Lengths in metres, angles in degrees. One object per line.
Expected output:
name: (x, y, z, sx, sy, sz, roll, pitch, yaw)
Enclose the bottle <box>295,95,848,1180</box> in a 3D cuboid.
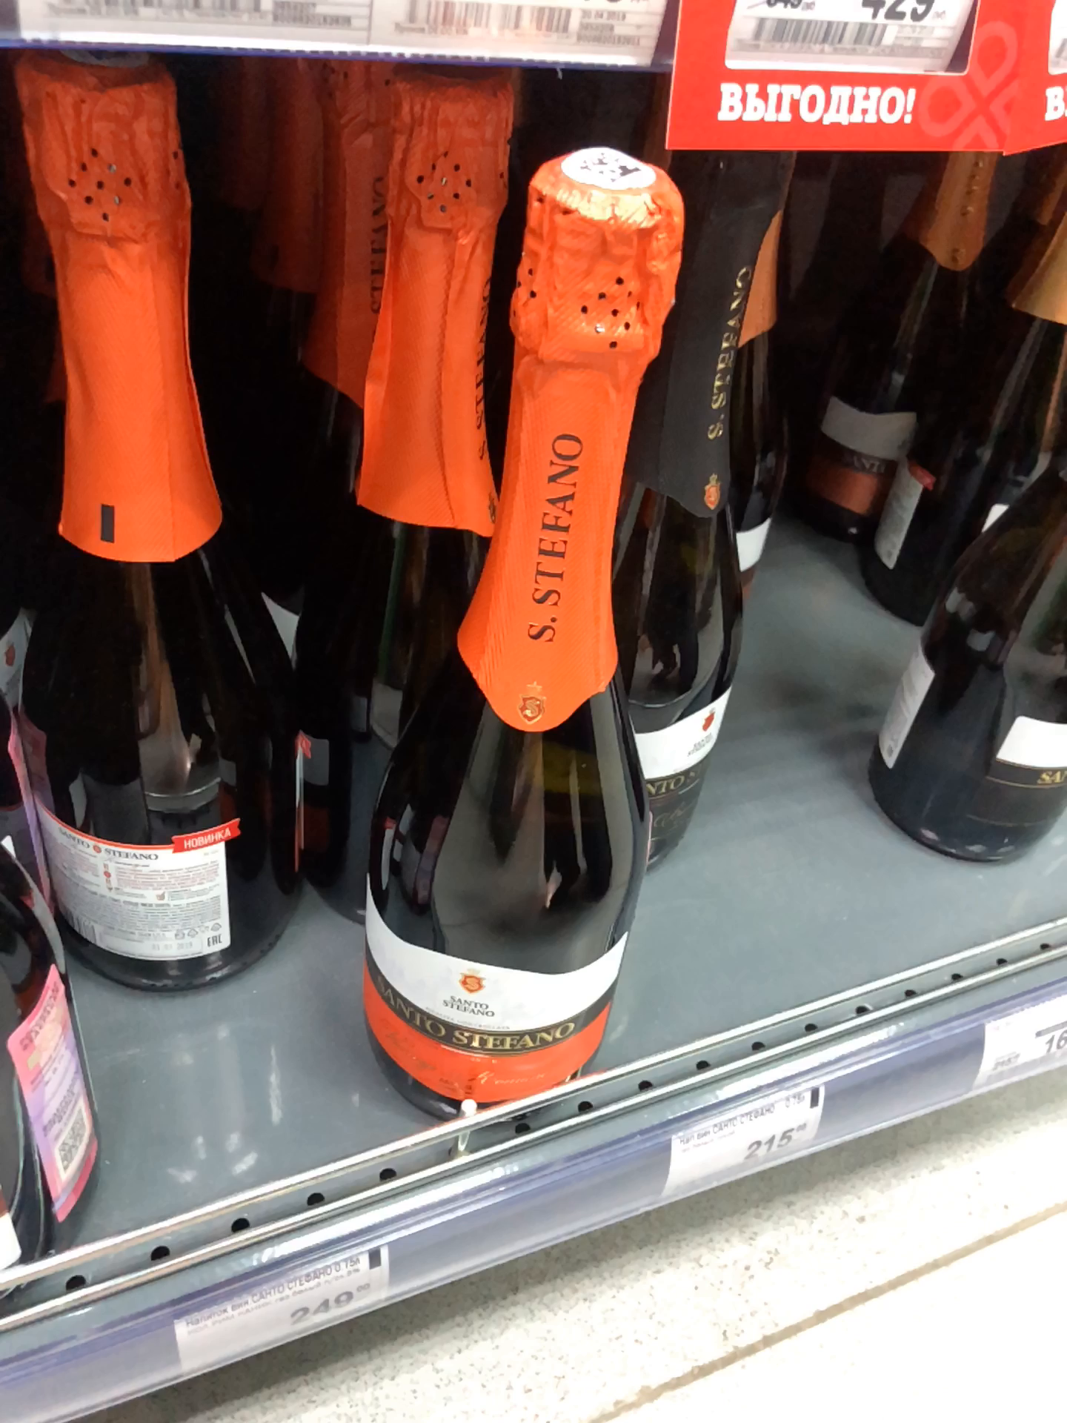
bottle: (-0.002, 0.002, 0.345, 0.100, 0.298, 0.101, 5, 40, -4)
